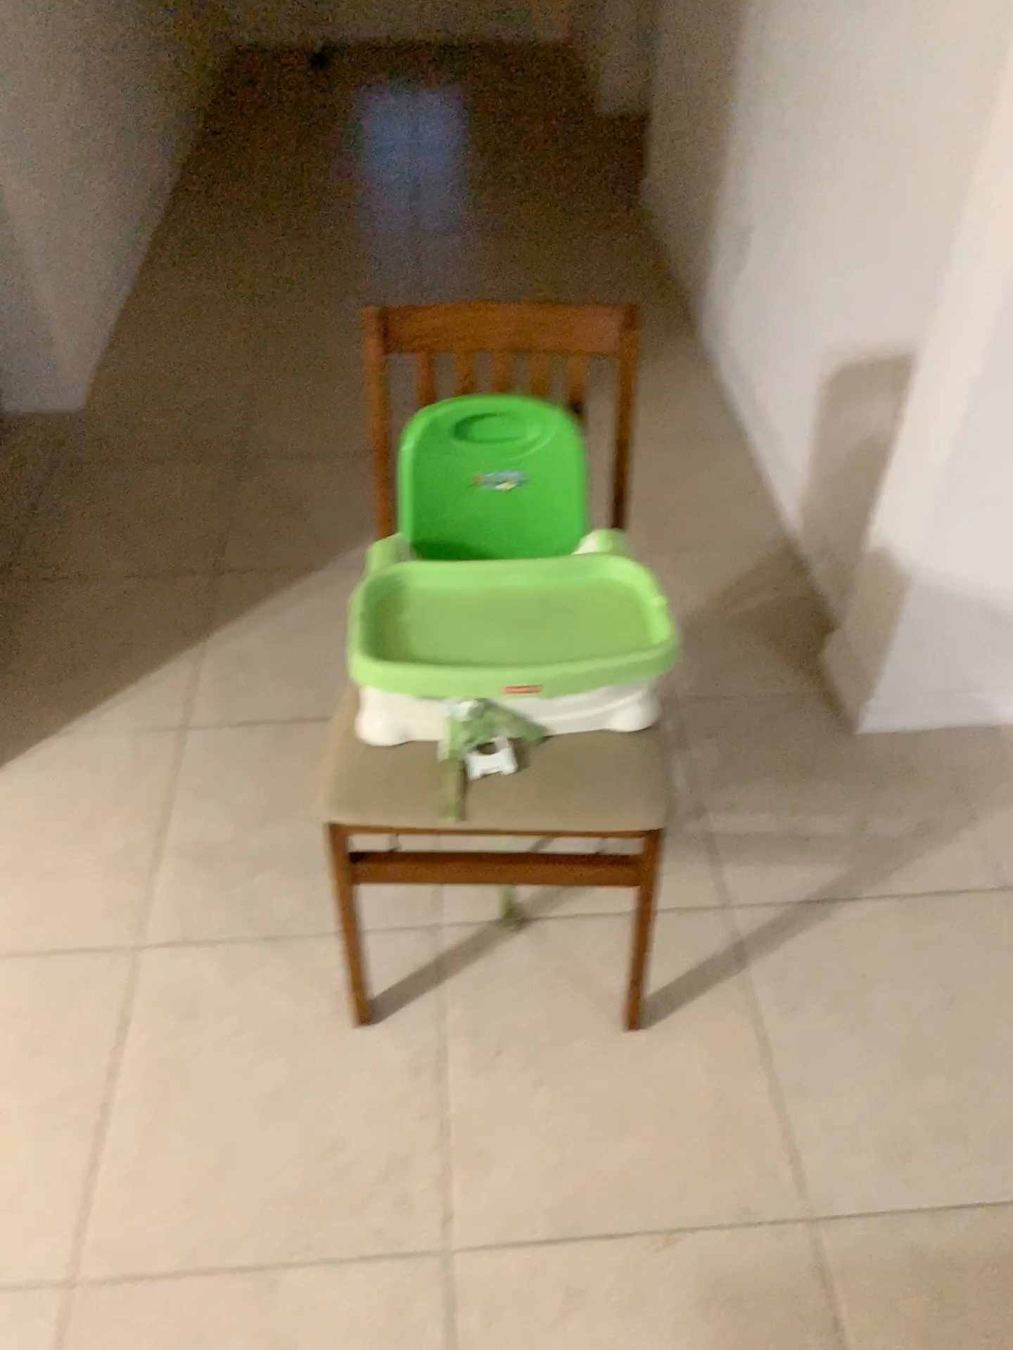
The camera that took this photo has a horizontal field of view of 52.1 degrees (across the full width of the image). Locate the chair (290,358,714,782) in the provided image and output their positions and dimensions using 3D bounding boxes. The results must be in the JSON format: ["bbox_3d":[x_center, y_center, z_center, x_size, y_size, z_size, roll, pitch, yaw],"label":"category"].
[{"bbox_3d":[-0.010,-0.132,1.239,0.404,0.327,0.388,-1,43,-2],"label":"chair"}]

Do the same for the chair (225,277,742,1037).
[{"bbox_3d":[-0.015,0.010,1.414,0.454,0.881,0.560,1,43,1],"label":"chair"}]
